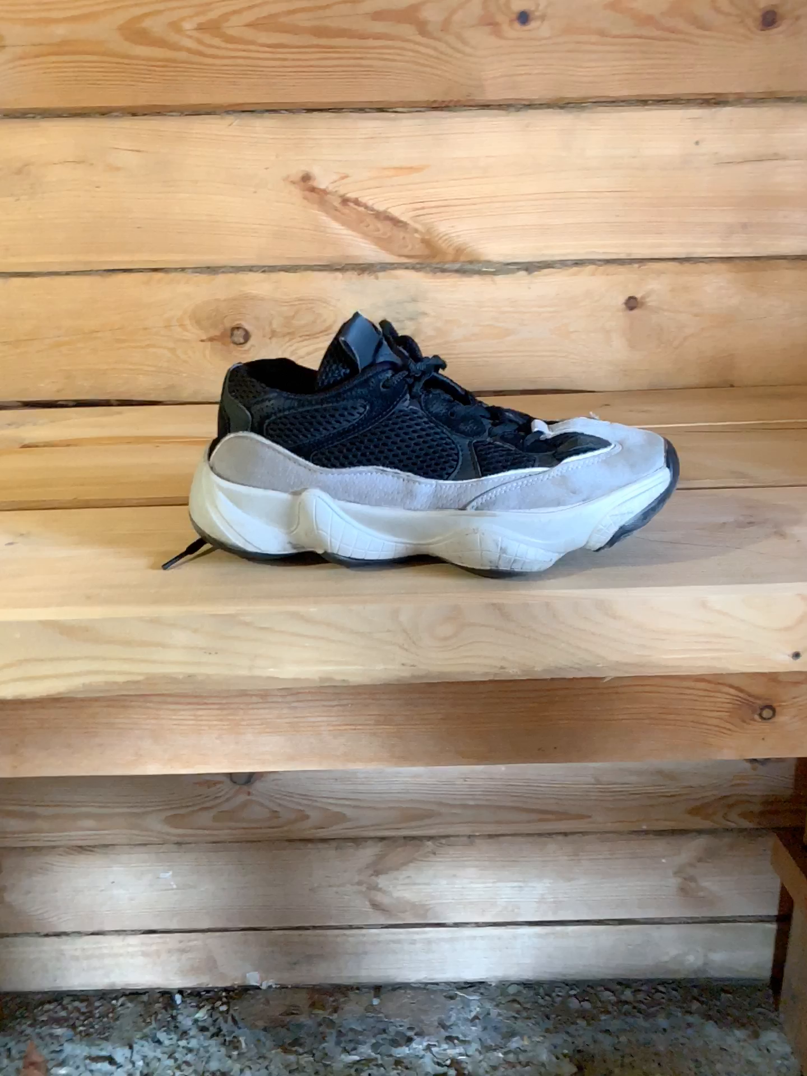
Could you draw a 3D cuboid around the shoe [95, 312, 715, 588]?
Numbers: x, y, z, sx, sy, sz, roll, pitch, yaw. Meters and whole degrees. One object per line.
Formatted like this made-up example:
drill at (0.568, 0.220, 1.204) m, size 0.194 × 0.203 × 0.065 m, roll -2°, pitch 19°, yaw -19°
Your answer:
shoe at (0.003, -0.055, 0.427) m, size 0.270 × 0.109 × 0.121 m, roll 3°, pitch 19°, yaw 10°
